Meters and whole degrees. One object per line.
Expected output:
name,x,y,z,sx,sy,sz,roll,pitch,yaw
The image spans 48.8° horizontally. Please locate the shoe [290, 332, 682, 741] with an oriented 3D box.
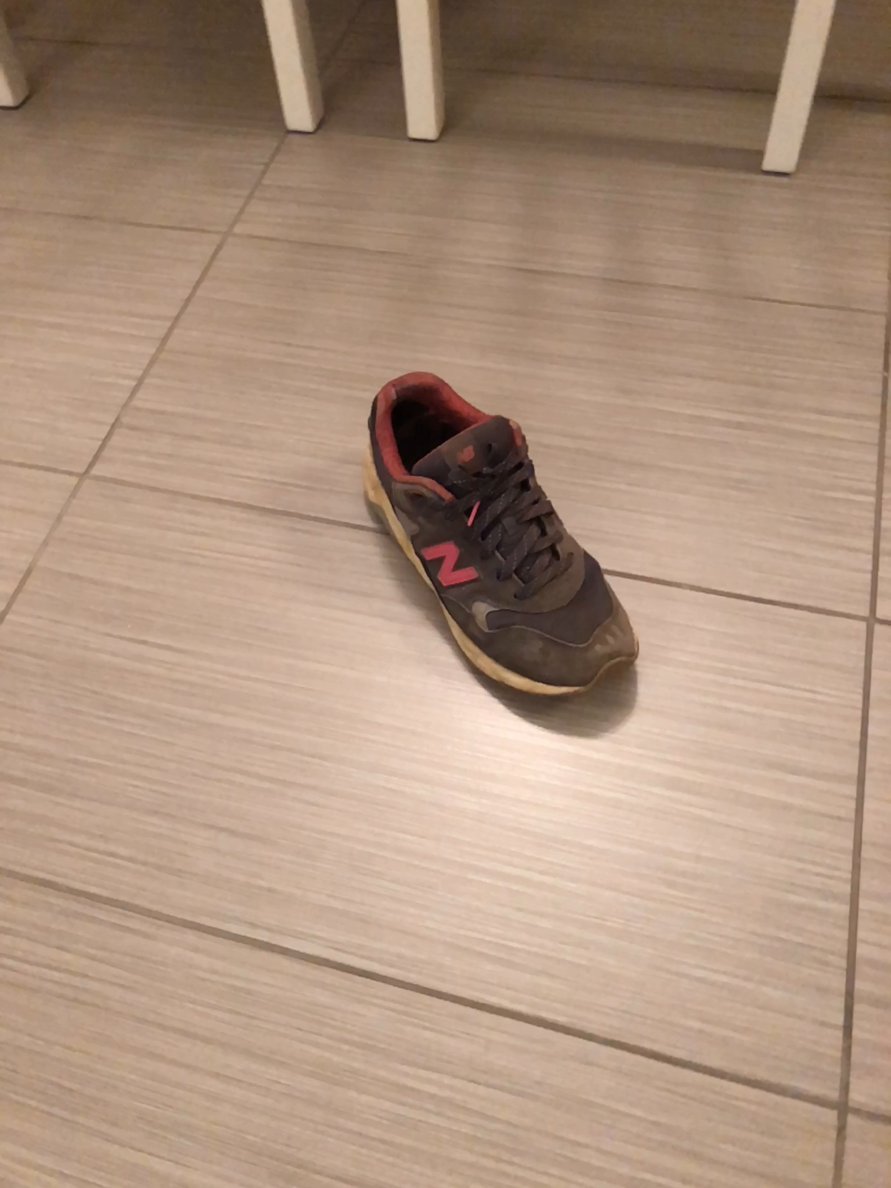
shoe,0.018,-0.050,0.659,0.120,0.070,0.271,-31,59,-14
